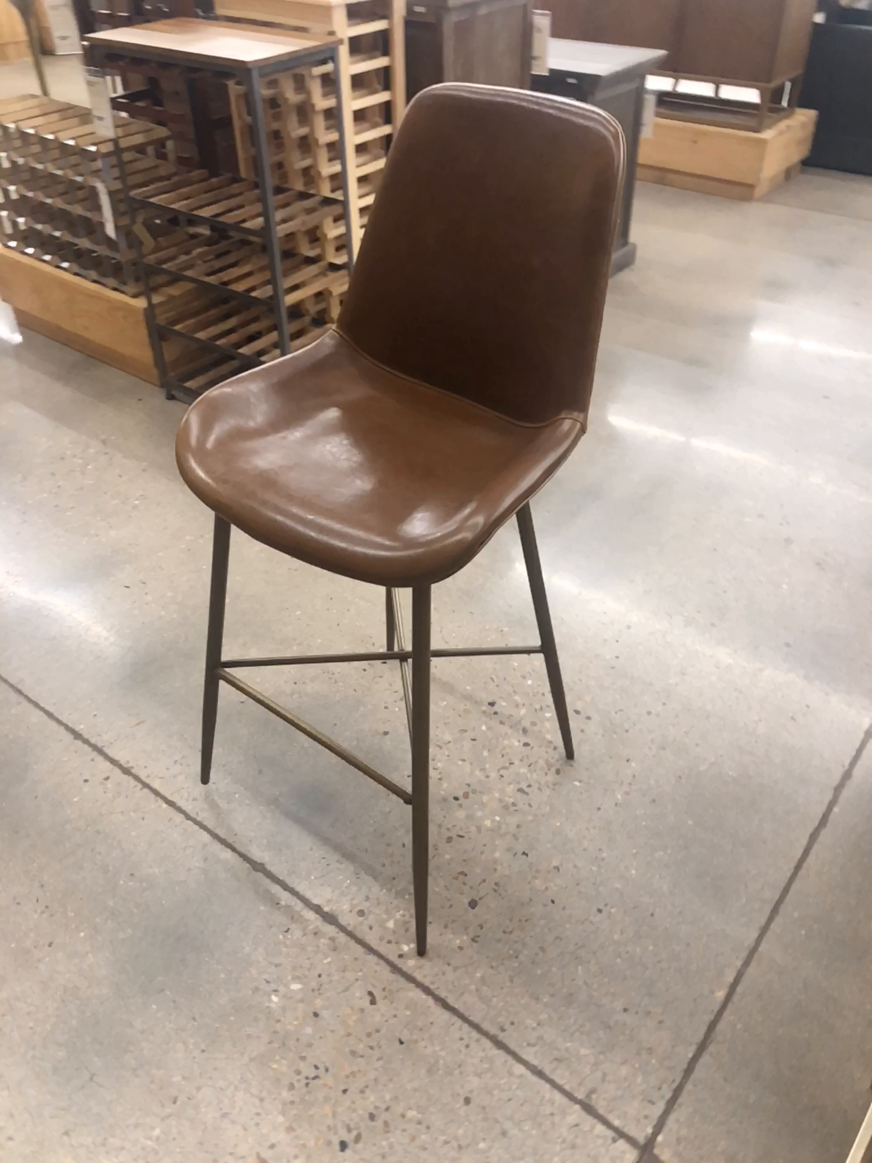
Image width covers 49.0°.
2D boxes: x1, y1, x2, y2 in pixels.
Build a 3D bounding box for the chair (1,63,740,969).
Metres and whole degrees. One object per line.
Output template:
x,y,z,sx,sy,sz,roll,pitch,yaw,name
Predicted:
-0.057,-0.104,1.435,0.603,1.055,0.612,27,46,31,chair
